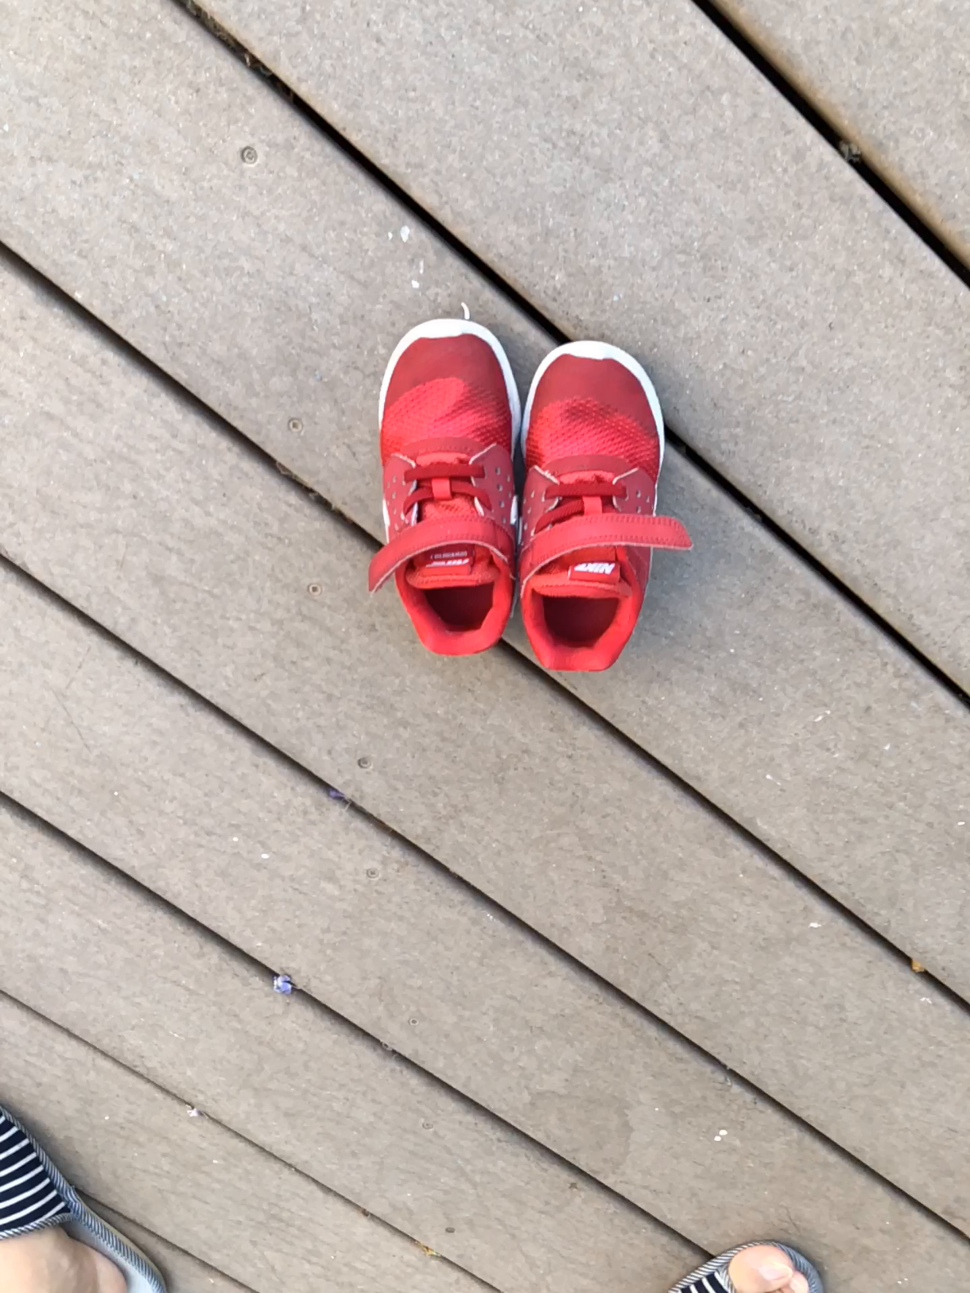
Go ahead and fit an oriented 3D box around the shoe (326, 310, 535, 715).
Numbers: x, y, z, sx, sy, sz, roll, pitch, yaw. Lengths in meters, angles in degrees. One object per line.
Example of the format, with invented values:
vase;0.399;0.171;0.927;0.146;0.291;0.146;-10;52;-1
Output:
shoe;-0.019;-0.063;0.505;0.077;0.087;0.168;-2;116;4

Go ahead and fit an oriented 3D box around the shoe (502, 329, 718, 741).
shoe;0.052;-0.053;0.498;0.077;0.087;0.168;3;116;1
